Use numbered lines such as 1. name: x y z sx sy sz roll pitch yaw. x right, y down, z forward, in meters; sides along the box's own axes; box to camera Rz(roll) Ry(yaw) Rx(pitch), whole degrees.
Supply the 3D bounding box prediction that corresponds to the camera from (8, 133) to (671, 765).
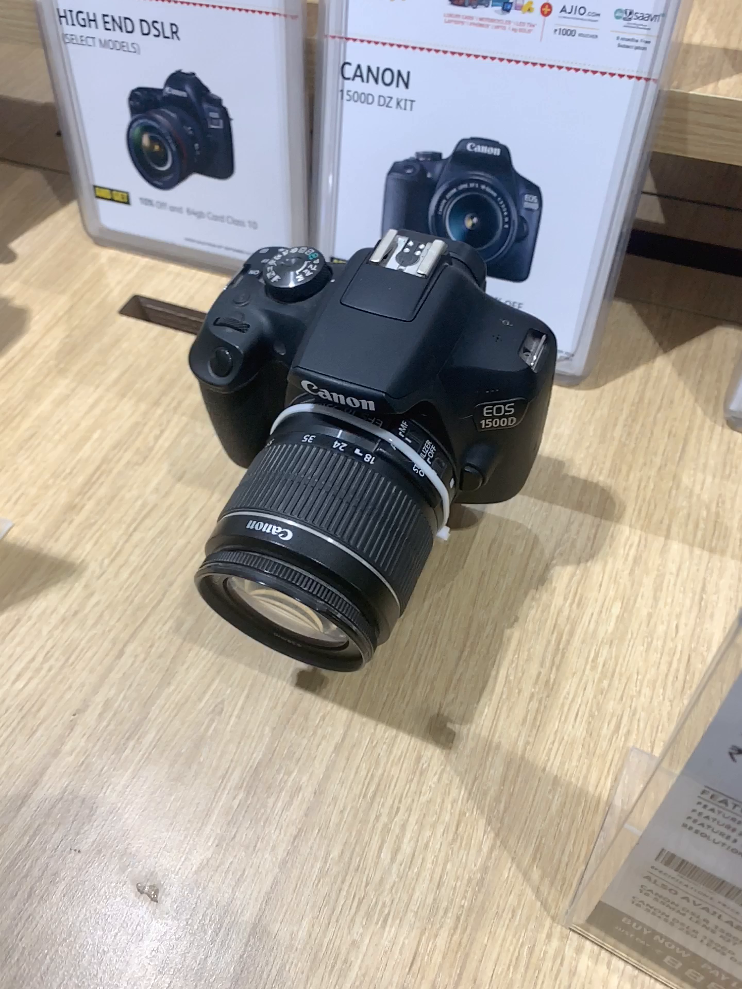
1. camera: 0.004 -0.024 0.263 0.140 0.100 0.160 16 57 16
